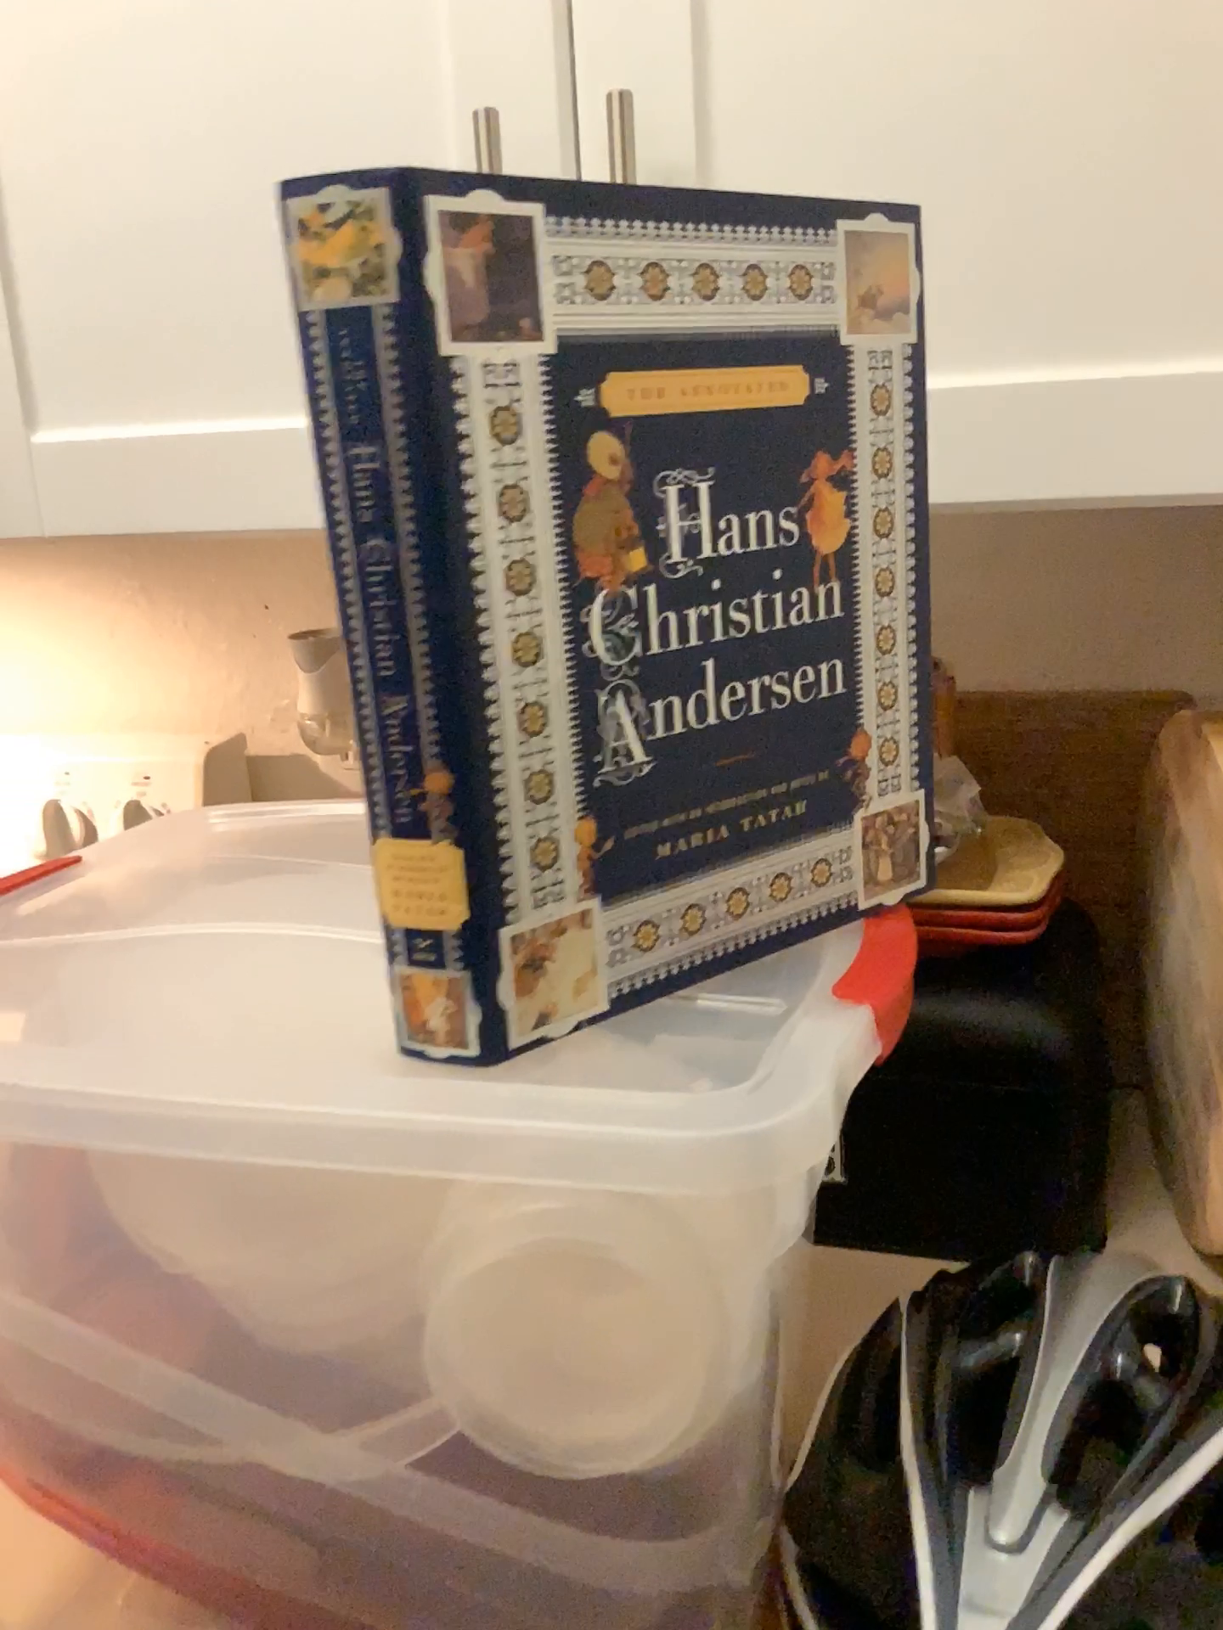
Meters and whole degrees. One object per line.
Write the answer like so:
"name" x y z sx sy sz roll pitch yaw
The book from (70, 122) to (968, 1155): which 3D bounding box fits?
"book" -0.006 -0.074 0.490 0.200 0.260 0.250 7 19 26
